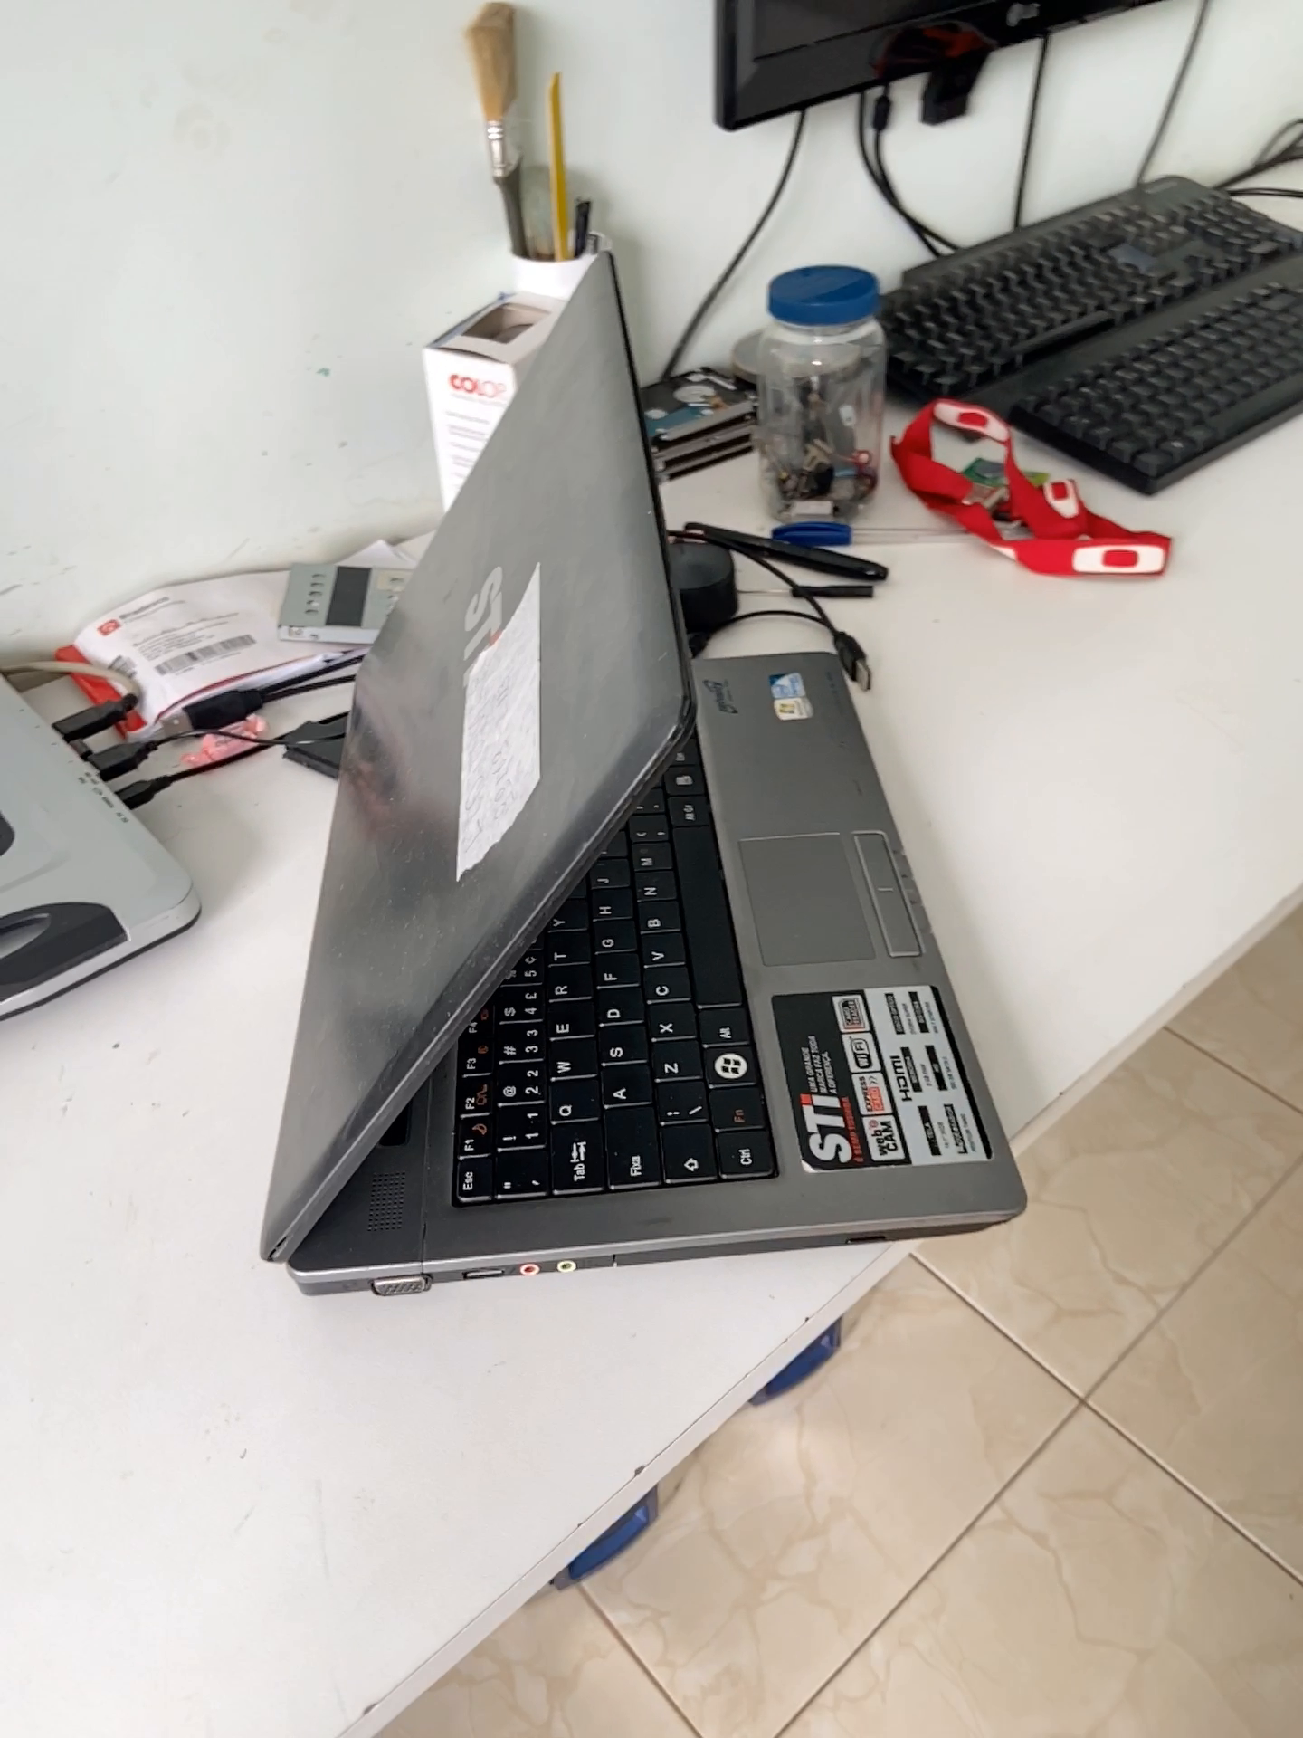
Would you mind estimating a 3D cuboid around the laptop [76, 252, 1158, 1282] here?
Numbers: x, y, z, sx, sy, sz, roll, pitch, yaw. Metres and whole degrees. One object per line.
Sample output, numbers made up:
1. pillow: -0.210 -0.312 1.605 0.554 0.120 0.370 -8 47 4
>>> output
1. laptop: -0.014 -0.064 0.493 0.241 0.200 0.344 -5 41 -2
